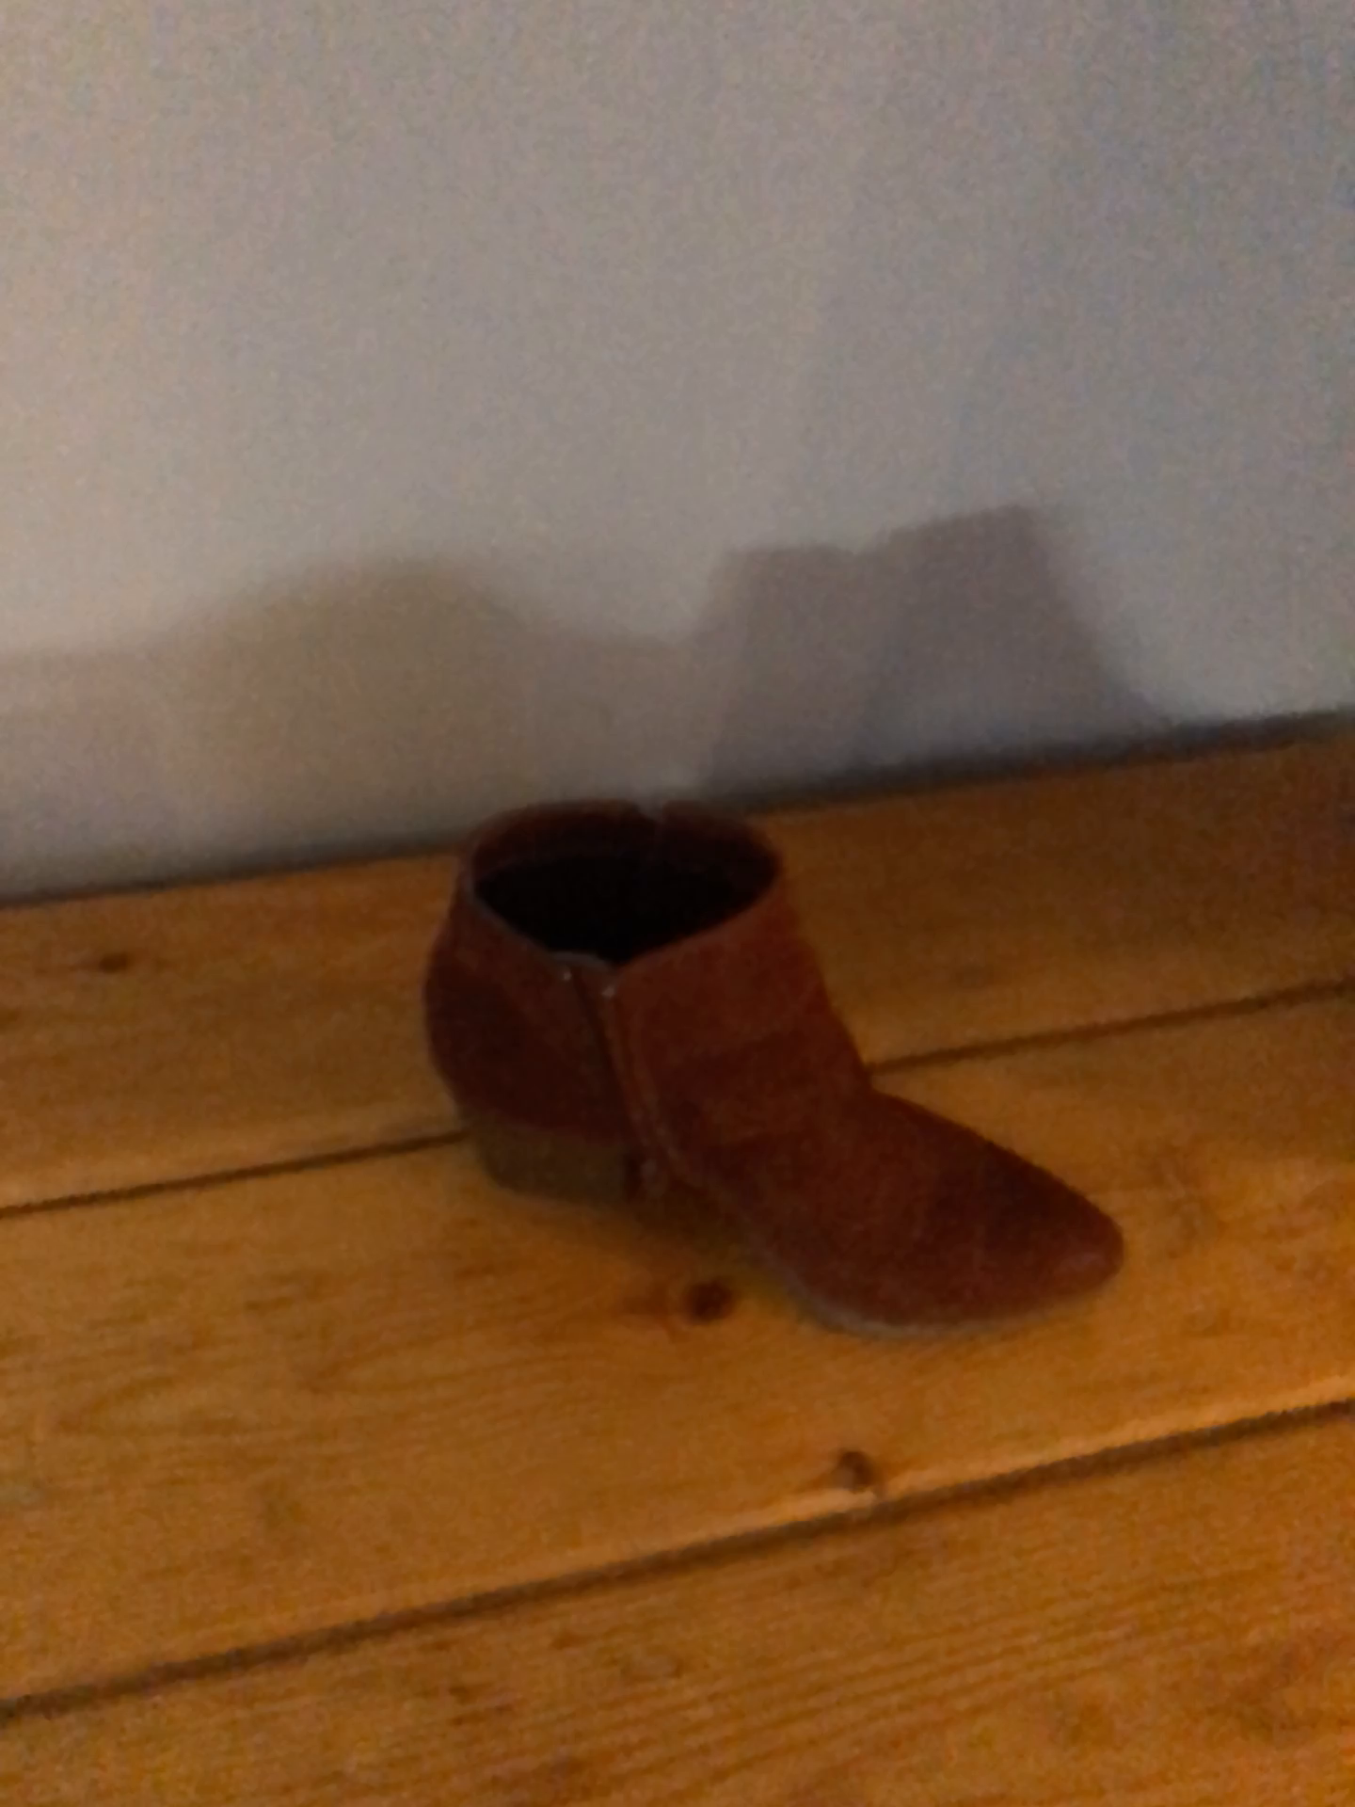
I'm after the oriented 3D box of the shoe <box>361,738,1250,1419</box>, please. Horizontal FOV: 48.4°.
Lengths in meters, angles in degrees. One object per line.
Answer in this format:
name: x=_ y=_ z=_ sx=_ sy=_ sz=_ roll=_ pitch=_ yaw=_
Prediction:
shoe: x=0.036 y=0.060 z=0.503 sx=0.250 sy=0.150 sz=0.090 roll=16 pitch=49 yaw=9
